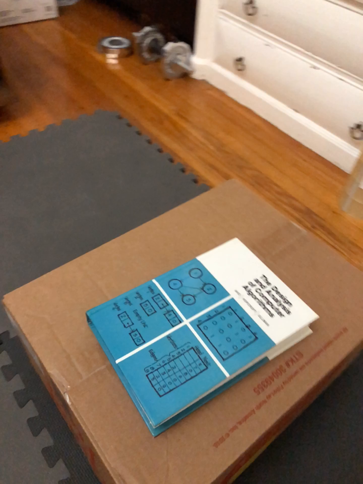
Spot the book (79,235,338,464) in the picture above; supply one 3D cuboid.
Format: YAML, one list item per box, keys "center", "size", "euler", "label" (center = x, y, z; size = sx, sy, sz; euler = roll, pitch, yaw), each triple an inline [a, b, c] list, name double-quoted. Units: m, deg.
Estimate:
- center: [0.032, 0.111, 0.511]
  size: [0.261, 0.040, 0.191]
  euler: [-24, 53, -24]
  label: "book"
